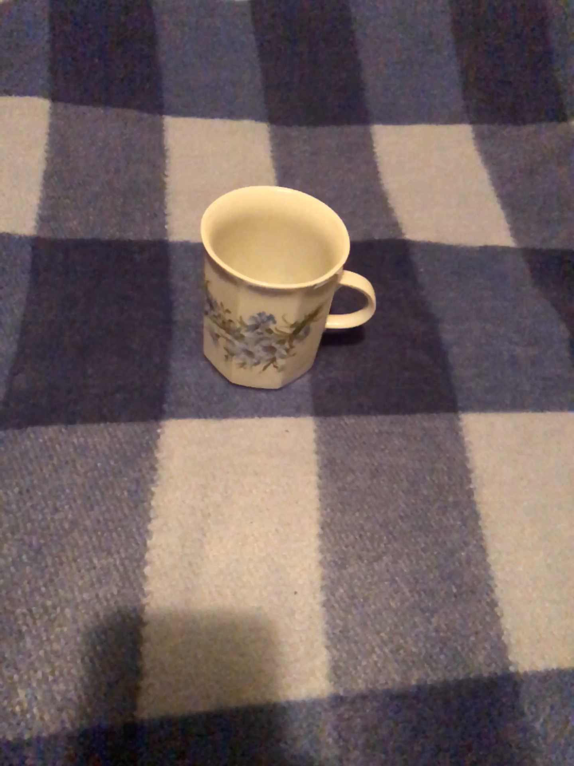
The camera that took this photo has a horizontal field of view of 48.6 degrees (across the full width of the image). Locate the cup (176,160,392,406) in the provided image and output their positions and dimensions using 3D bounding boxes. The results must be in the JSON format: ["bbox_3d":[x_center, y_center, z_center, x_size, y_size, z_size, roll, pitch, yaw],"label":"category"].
[{"bbox_3d":[-0.002,-0.052,0.354,0.098,0.094,0.077,10,55,0],"label":"cup"}]
